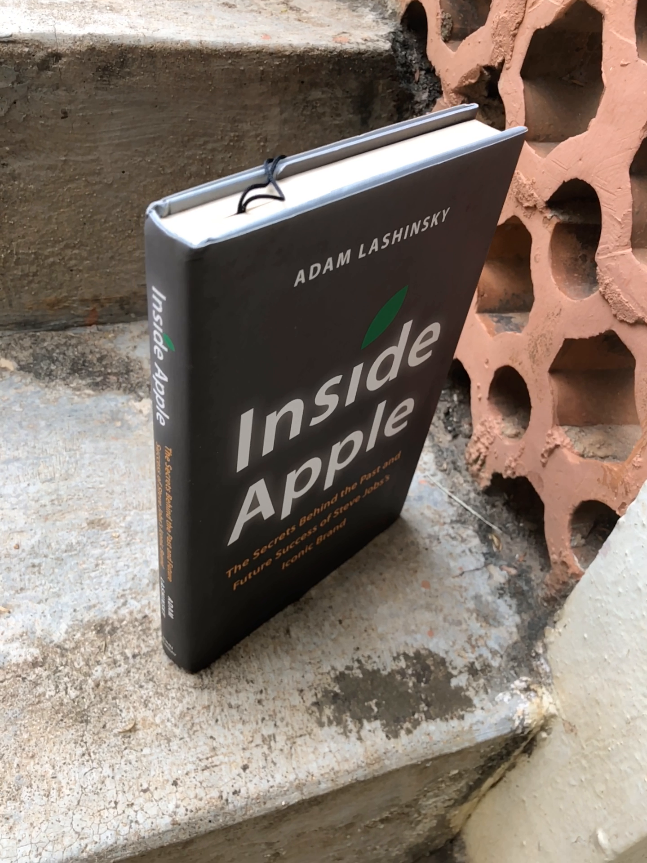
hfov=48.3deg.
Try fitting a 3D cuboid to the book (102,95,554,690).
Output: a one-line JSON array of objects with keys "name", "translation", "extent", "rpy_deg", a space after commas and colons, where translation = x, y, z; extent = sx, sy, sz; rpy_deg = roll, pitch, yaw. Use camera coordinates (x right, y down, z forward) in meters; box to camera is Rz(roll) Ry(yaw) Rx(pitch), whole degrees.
[{"name": "book", "translation": [0.000, -0.010, 0.309], "extent": [0.040, 0.219, 0.171], "rpy_deg": [38, 50, 27]}]
